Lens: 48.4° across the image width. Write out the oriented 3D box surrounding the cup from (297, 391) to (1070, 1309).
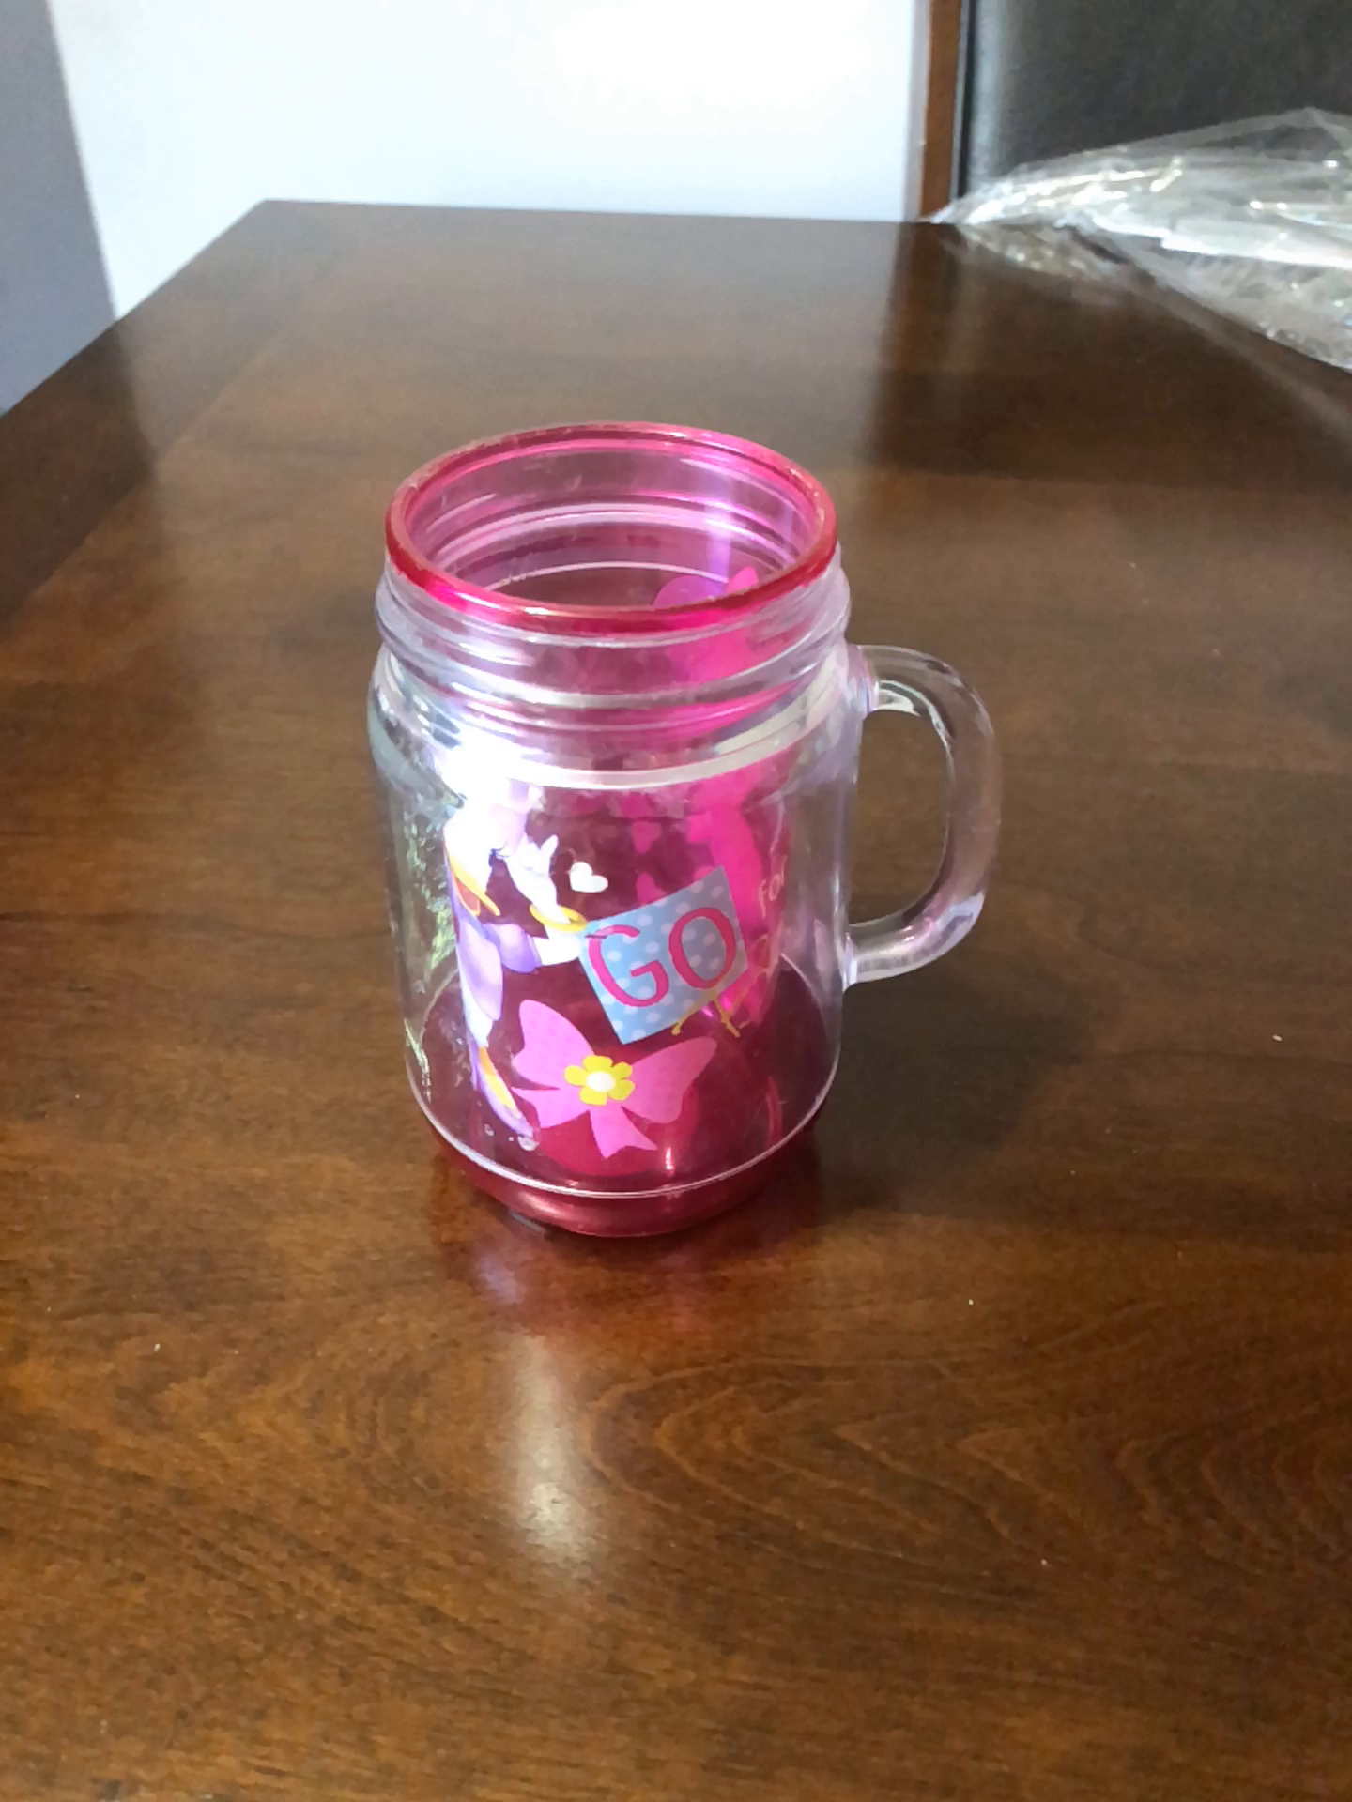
[{"bbox_3d":[-0.004,-0.009,0.316,0.120,0.159,0.080,-9,39,-12],"label":"cup"}]
